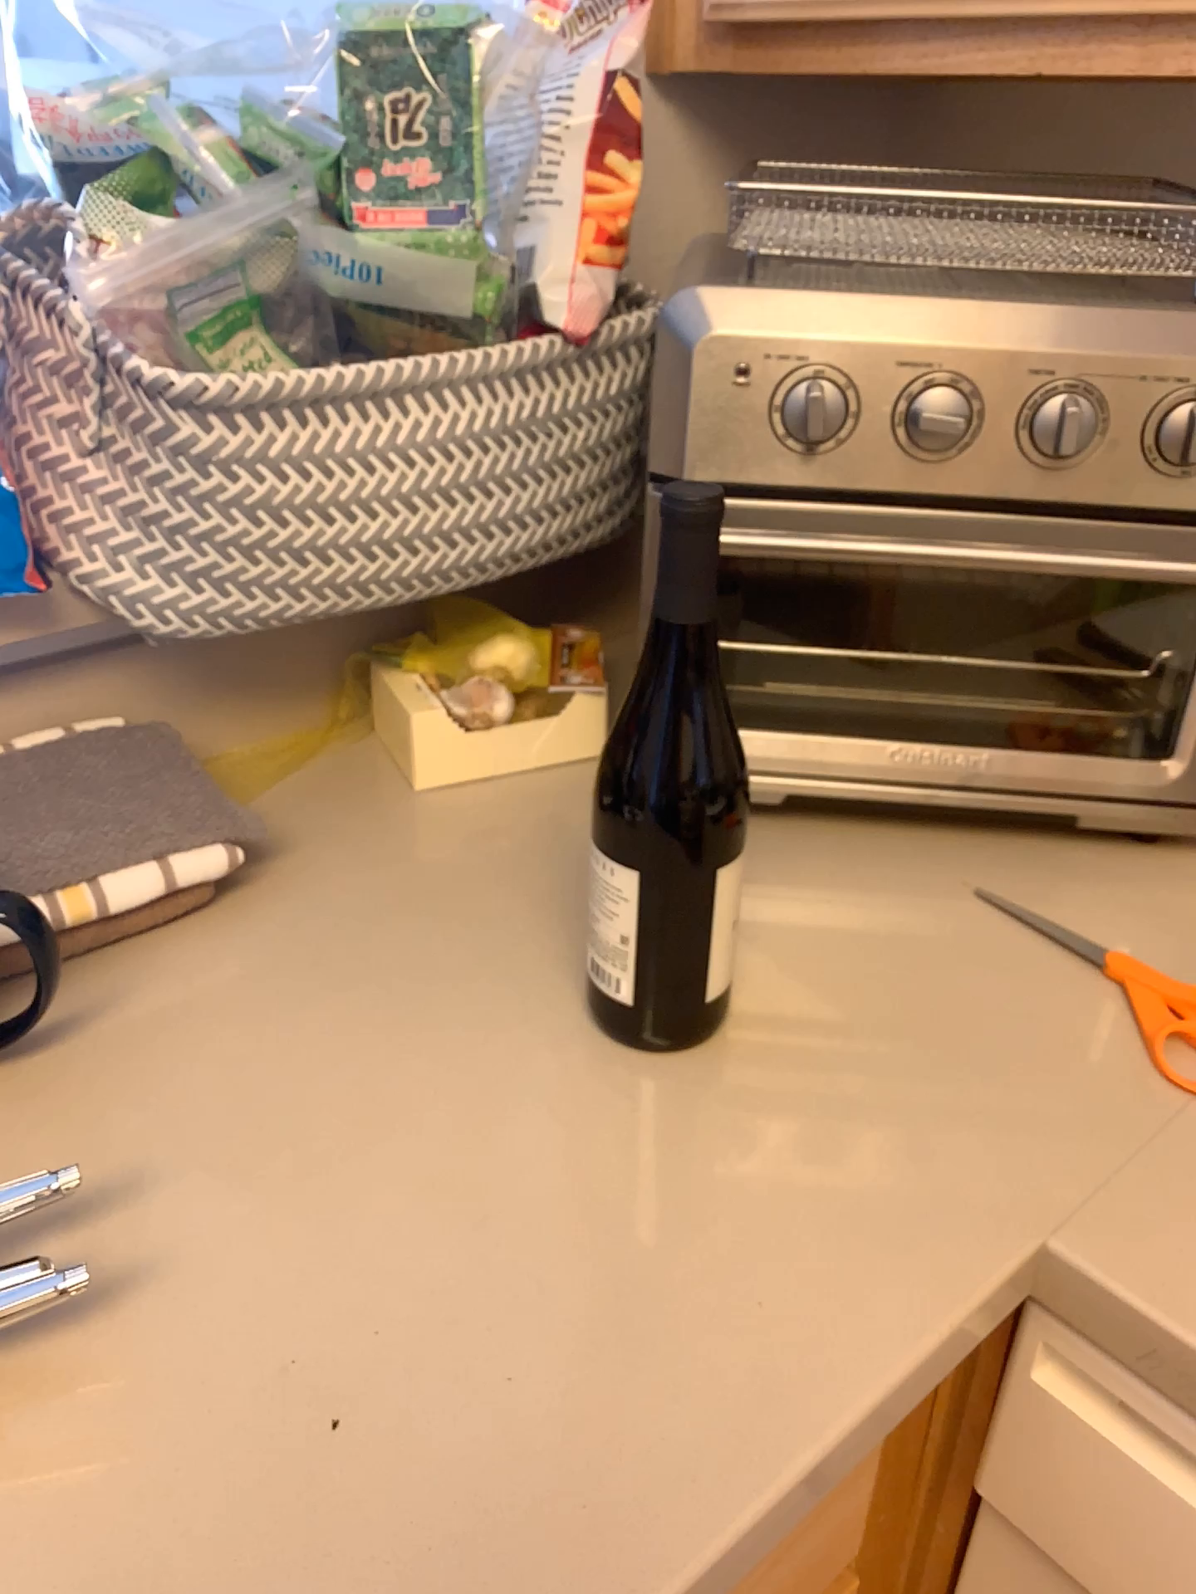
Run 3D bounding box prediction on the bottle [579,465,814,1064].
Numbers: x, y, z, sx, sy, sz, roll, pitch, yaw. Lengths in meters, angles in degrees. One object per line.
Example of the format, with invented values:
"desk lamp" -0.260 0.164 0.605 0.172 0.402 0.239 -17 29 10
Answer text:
"bottle" 0.041 -0.009 0.606 0.090 0.278 0.091 1 30 -1
